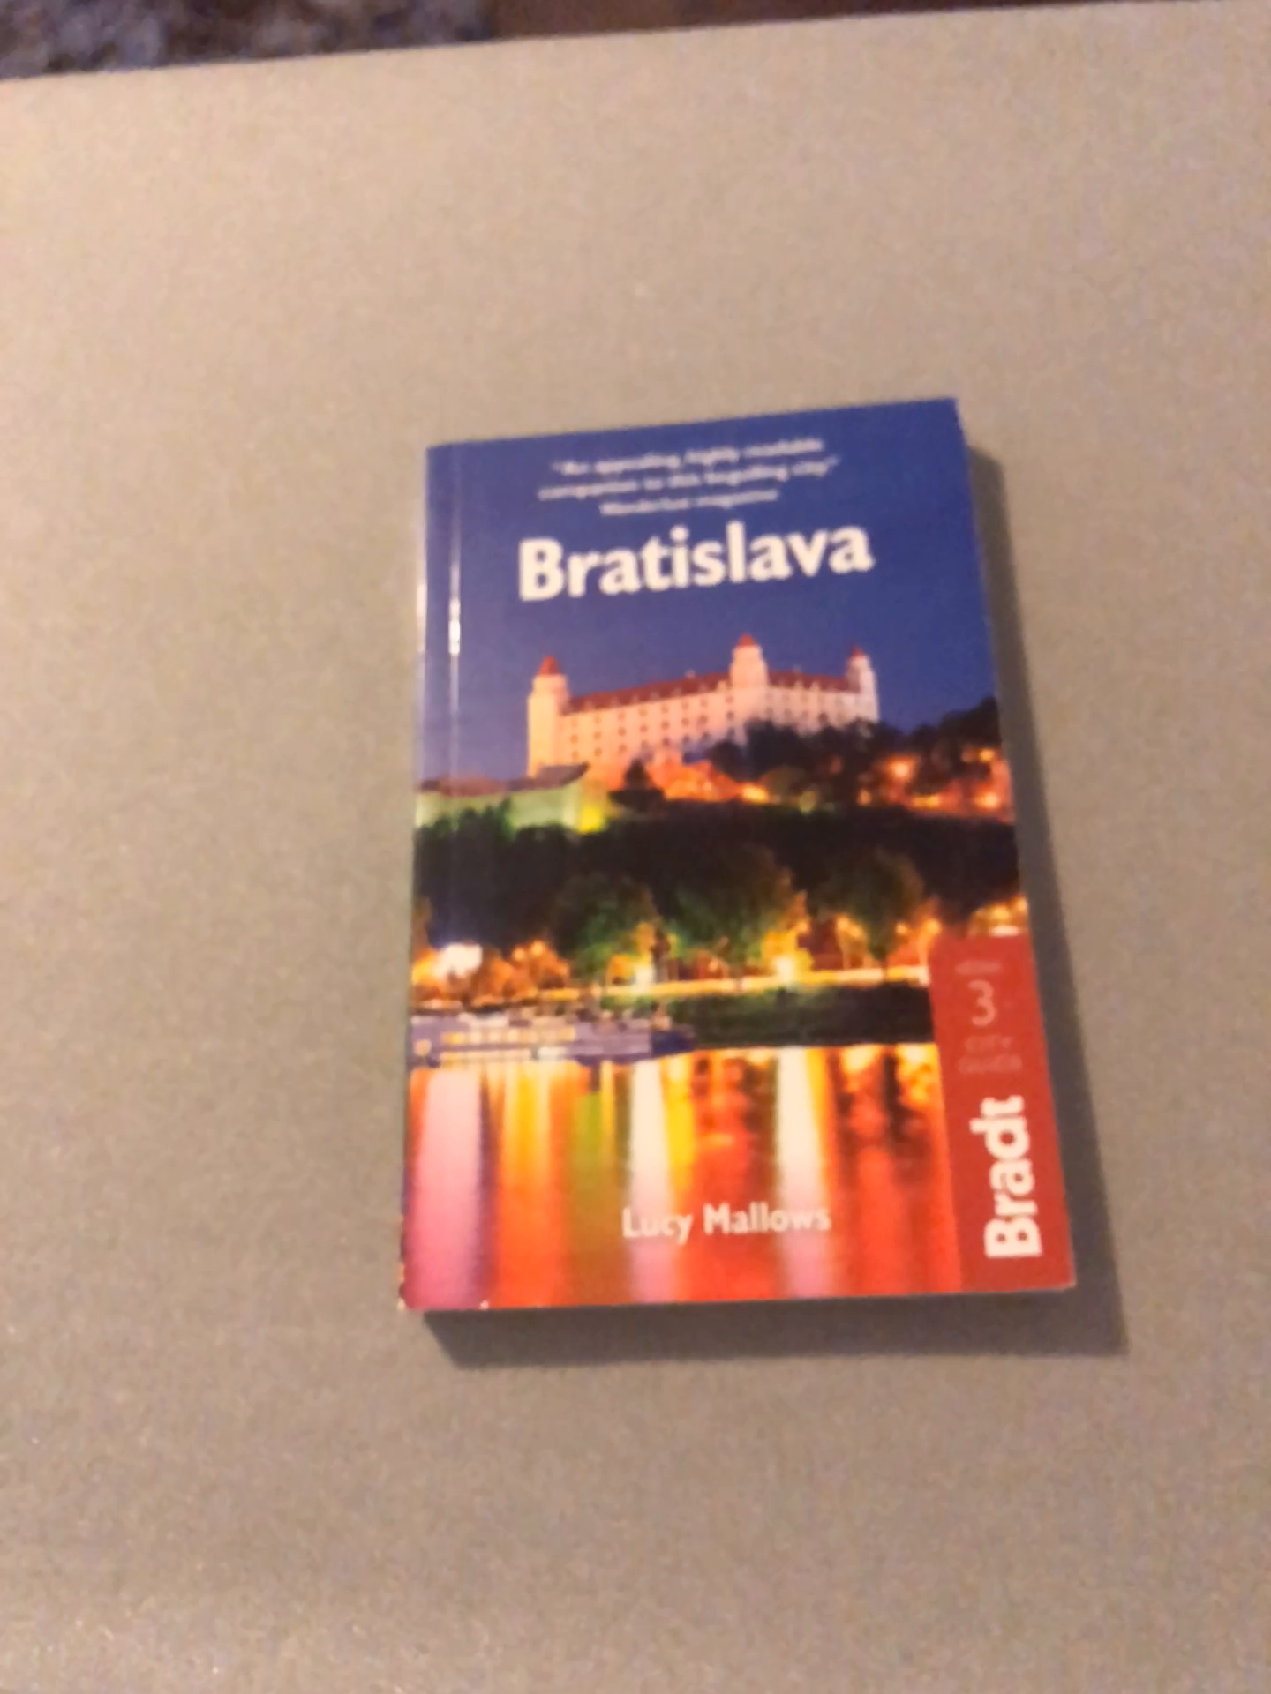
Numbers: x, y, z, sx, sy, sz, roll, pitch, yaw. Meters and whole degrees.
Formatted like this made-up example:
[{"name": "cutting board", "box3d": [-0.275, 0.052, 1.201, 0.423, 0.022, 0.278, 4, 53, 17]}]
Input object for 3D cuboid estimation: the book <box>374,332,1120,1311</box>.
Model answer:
[{"name": "book", "box3d": [0.018, -0.011, 0.314, 0.140, 0.020, 0.210, -4, 70, 8]}]
